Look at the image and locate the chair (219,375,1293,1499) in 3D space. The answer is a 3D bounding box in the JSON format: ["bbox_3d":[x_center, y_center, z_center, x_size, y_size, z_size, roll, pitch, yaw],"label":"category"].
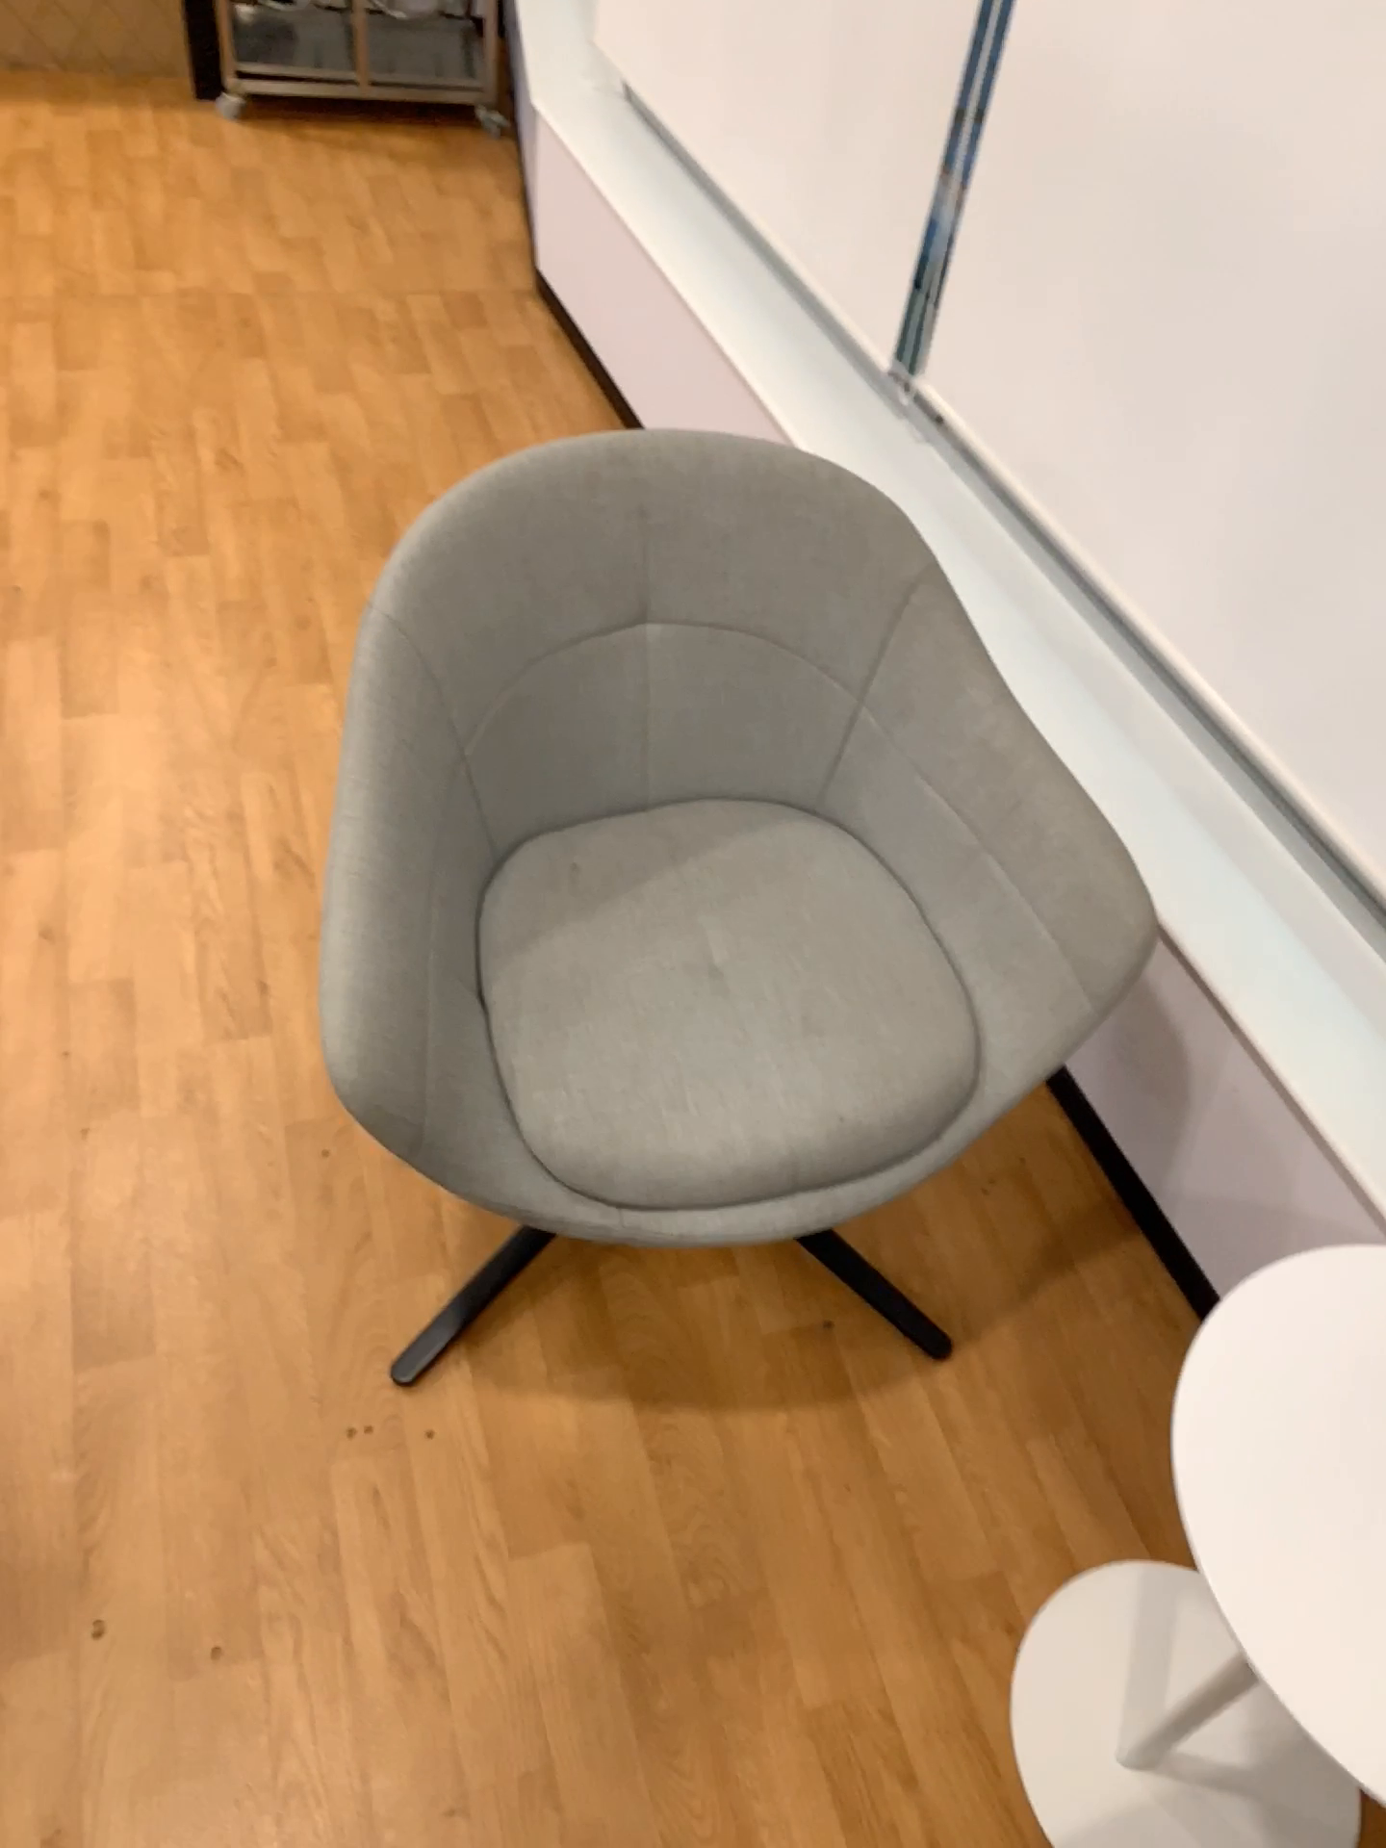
[{"bbox_3d":[-0.042,0.002,1.378,0.671,0.754,0.685,-7,49,-15],"label":"chair"}]
